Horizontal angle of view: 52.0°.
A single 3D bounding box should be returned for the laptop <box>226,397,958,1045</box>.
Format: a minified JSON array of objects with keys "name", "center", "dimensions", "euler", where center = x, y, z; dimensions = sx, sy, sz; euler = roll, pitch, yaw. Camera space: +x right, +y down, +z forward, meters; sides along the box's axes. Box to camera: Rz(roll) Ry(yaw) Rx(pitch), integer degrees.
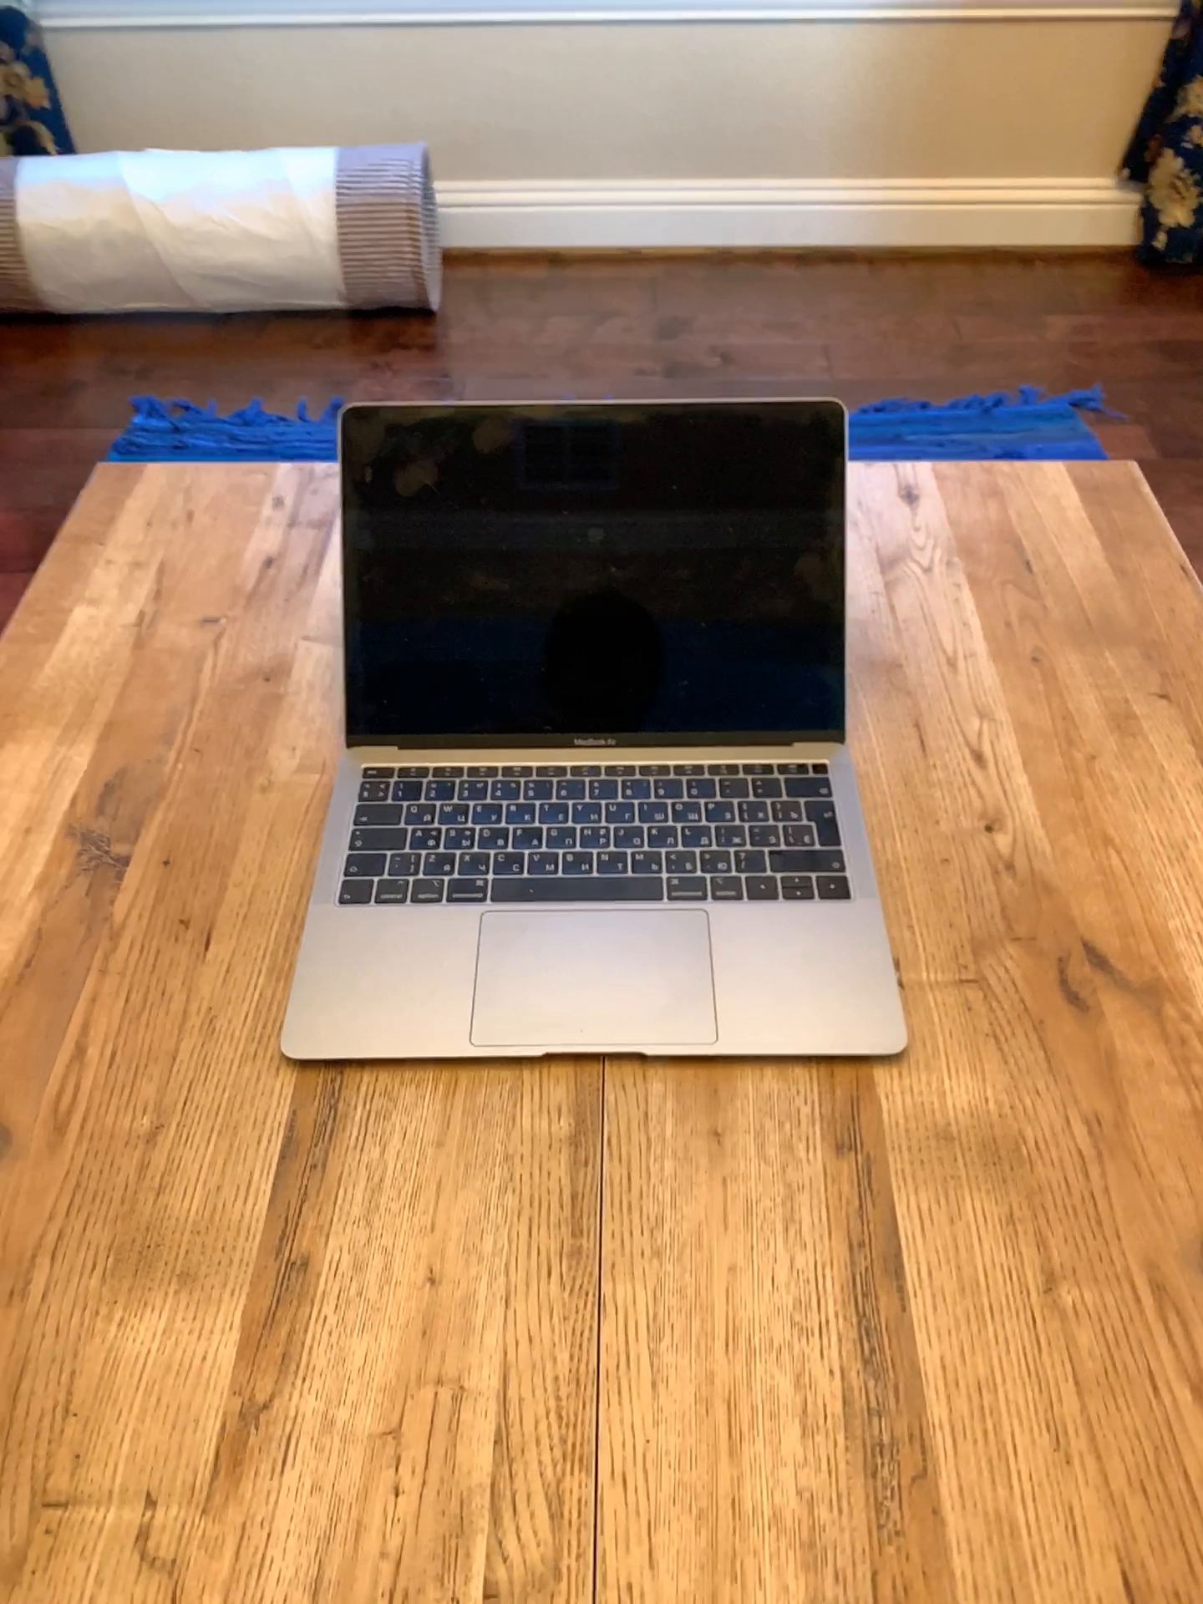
[{"name":"laptop","center":[0.001,-0.061,0.662],"dimensions":[0.290,0.141,0.354],"euler":[0,46,2]}]
